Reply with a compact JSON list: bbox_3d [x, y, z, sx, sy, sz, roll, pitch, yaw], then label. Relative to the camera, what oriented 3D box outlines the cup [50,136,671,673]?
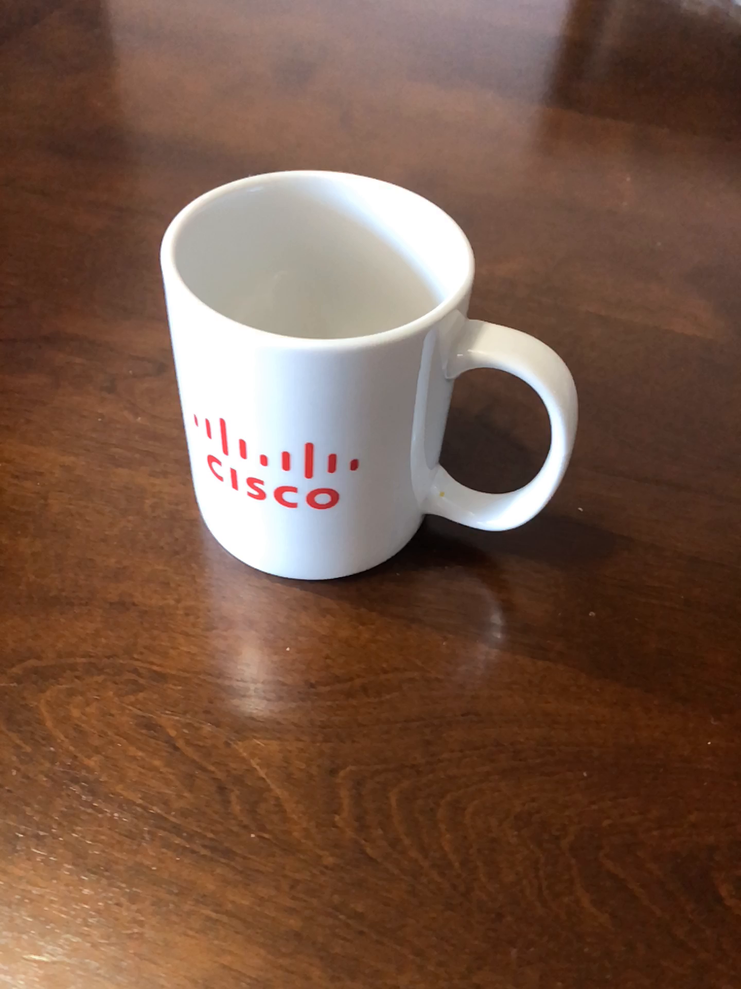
[{"bbox_3d":[0.001,-0.026,0.231,0.130,0.090,0.080,15,49,9],"label":"cup"}]
